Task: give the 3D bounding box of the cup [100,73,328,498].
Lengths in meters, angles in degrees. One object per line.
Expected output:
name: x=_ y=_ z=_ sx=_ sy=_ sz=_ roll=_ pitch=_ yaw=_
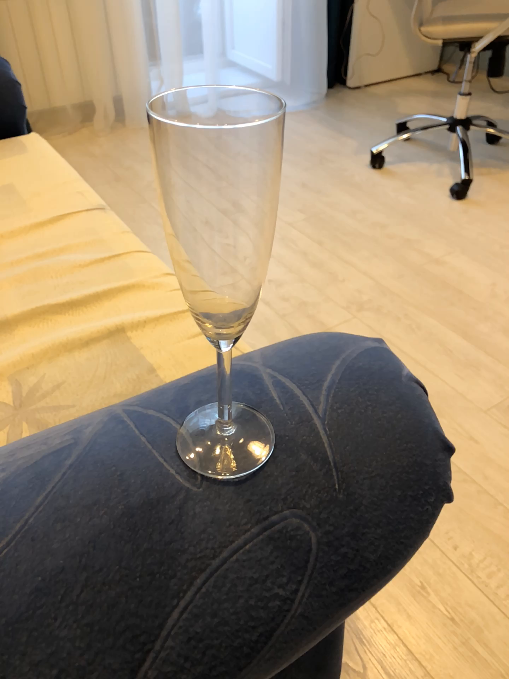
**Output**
cup: x=-0.018 y=-0.020 z=0.311 sx=0.076 sy=0.214 sz=0.072 roll=-1 pitch=38 yaw=1
